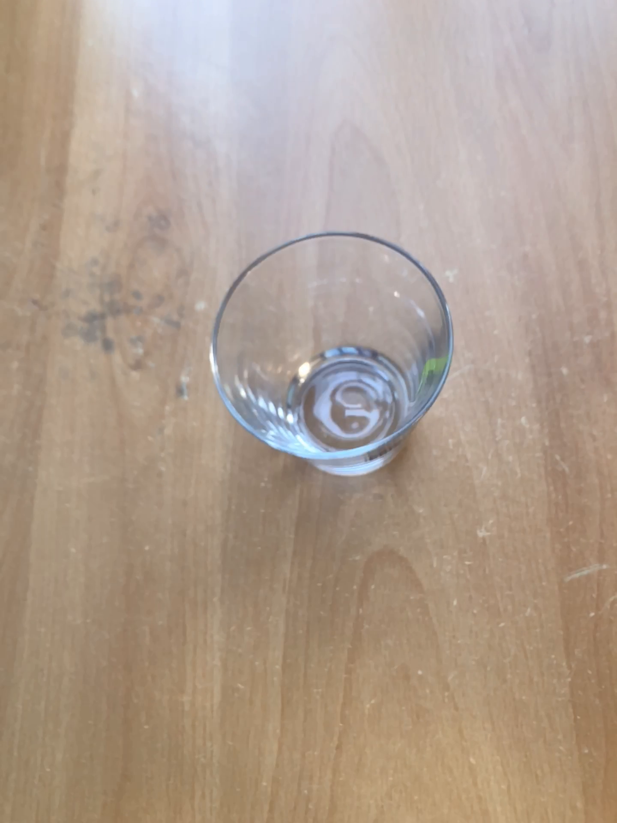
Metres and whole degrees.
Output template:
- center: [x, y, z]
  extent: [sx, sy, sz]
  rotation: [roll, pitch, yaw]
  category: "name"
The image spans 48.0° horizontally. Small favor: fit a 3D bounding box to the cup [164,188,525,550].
- center: [0.014, -0.010, 0.244]
  extent: [0.076, 0.074, 0.079]
  rotation: [-2, 74, 7]
  category: "cup"
